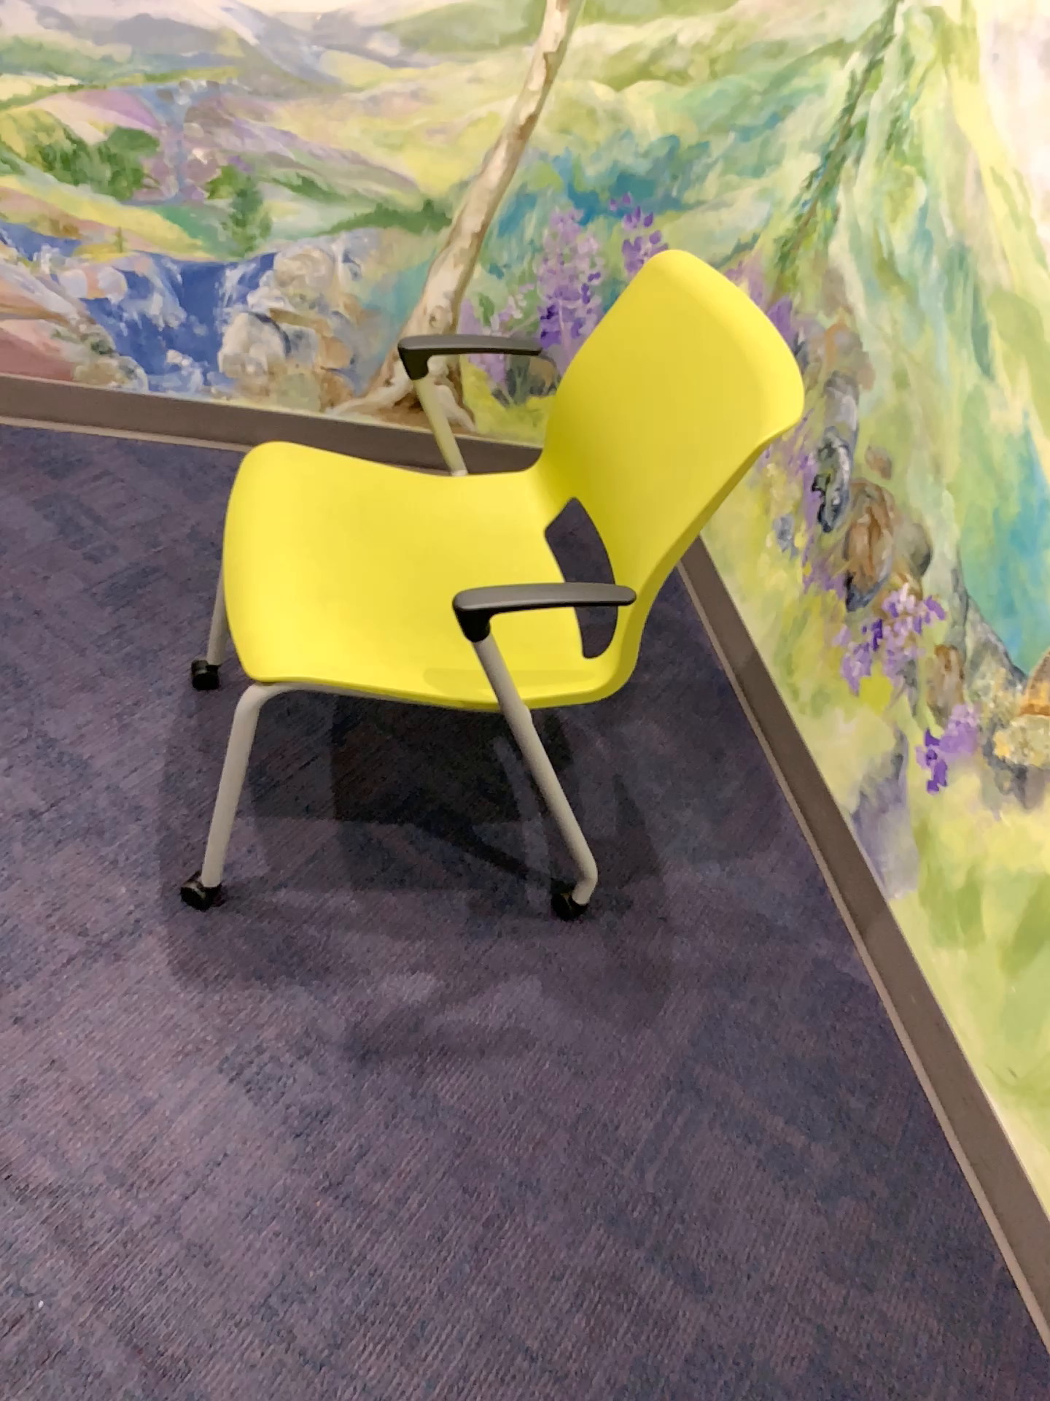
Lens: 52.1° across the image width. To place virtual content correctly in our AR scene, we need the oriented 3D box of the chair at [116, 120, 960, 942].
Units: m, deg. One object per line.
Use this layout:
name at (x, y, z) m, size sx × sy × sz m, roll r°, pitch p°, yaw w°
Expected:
chair at (-0.076, -0.161, 1.358) m, size 0.741 × 0.717 × 0.592 m, roll 6°, pitch 43°, yaw -17°
